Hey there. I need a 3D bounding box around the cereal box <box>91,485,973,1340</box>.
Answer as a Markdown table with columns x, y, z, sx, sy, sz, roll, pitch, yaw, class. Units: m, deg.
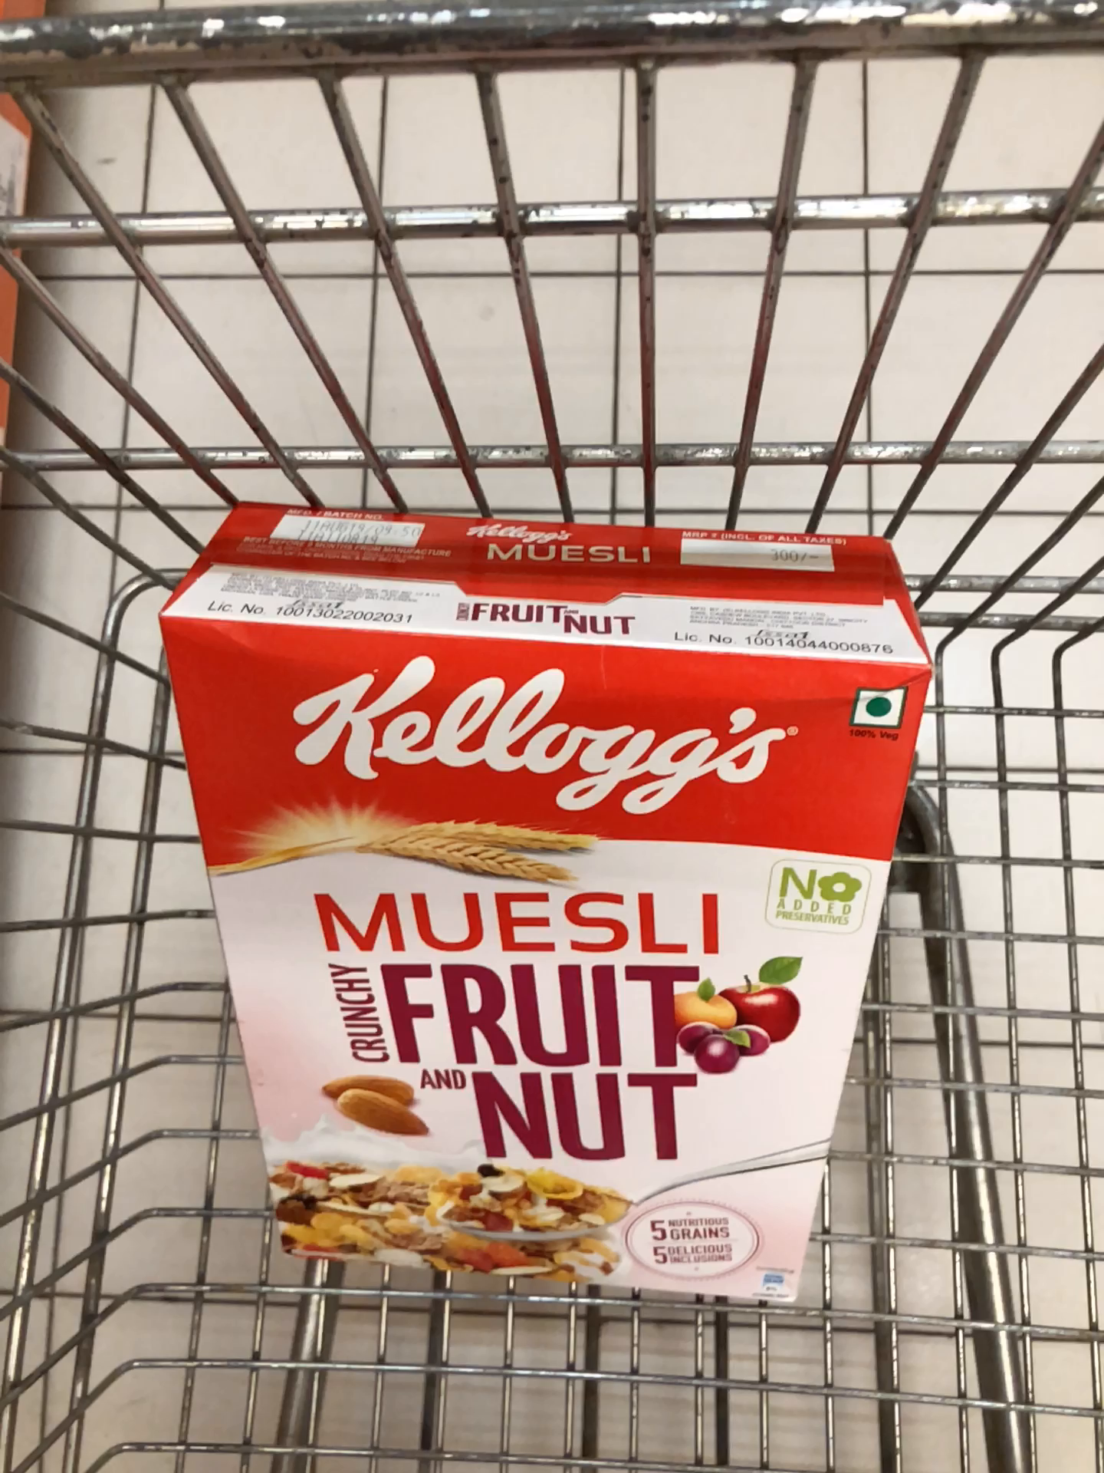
| x | y | z | sx | sy | sz | roll | pitch | yaw | class |
| --- | --- | --- | --- | --- | --- | --- | --- | --- | --- |
| -0.005 | 0.069 | 0.371 | 0.190 | 0.070 | 0.269 | 4 | 126 | 4 | cereal box |
